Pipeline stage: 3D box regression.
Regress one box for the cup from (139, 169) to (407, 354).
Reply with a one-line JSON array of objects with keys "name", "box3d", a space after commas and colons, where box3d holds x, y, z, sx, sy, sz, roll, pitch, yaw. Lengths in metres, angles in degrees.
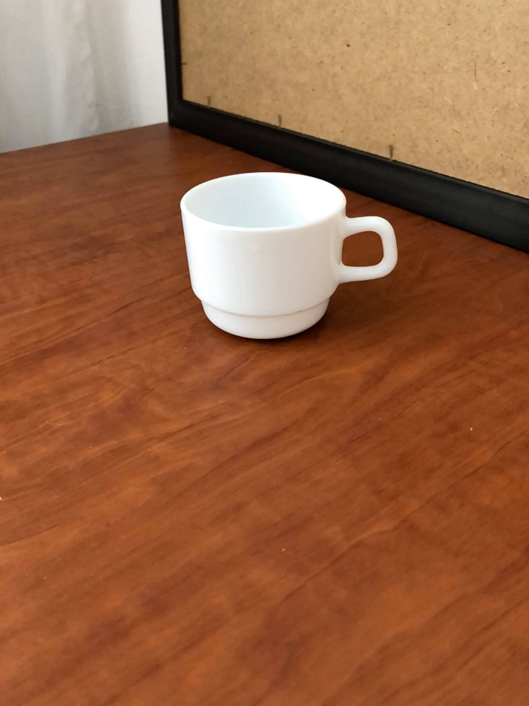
[{"name": "cup", "box3d": [0.009, -0.053, 0.311, 0.120, 0.060, 0.087, 4, 34, 7]}]
